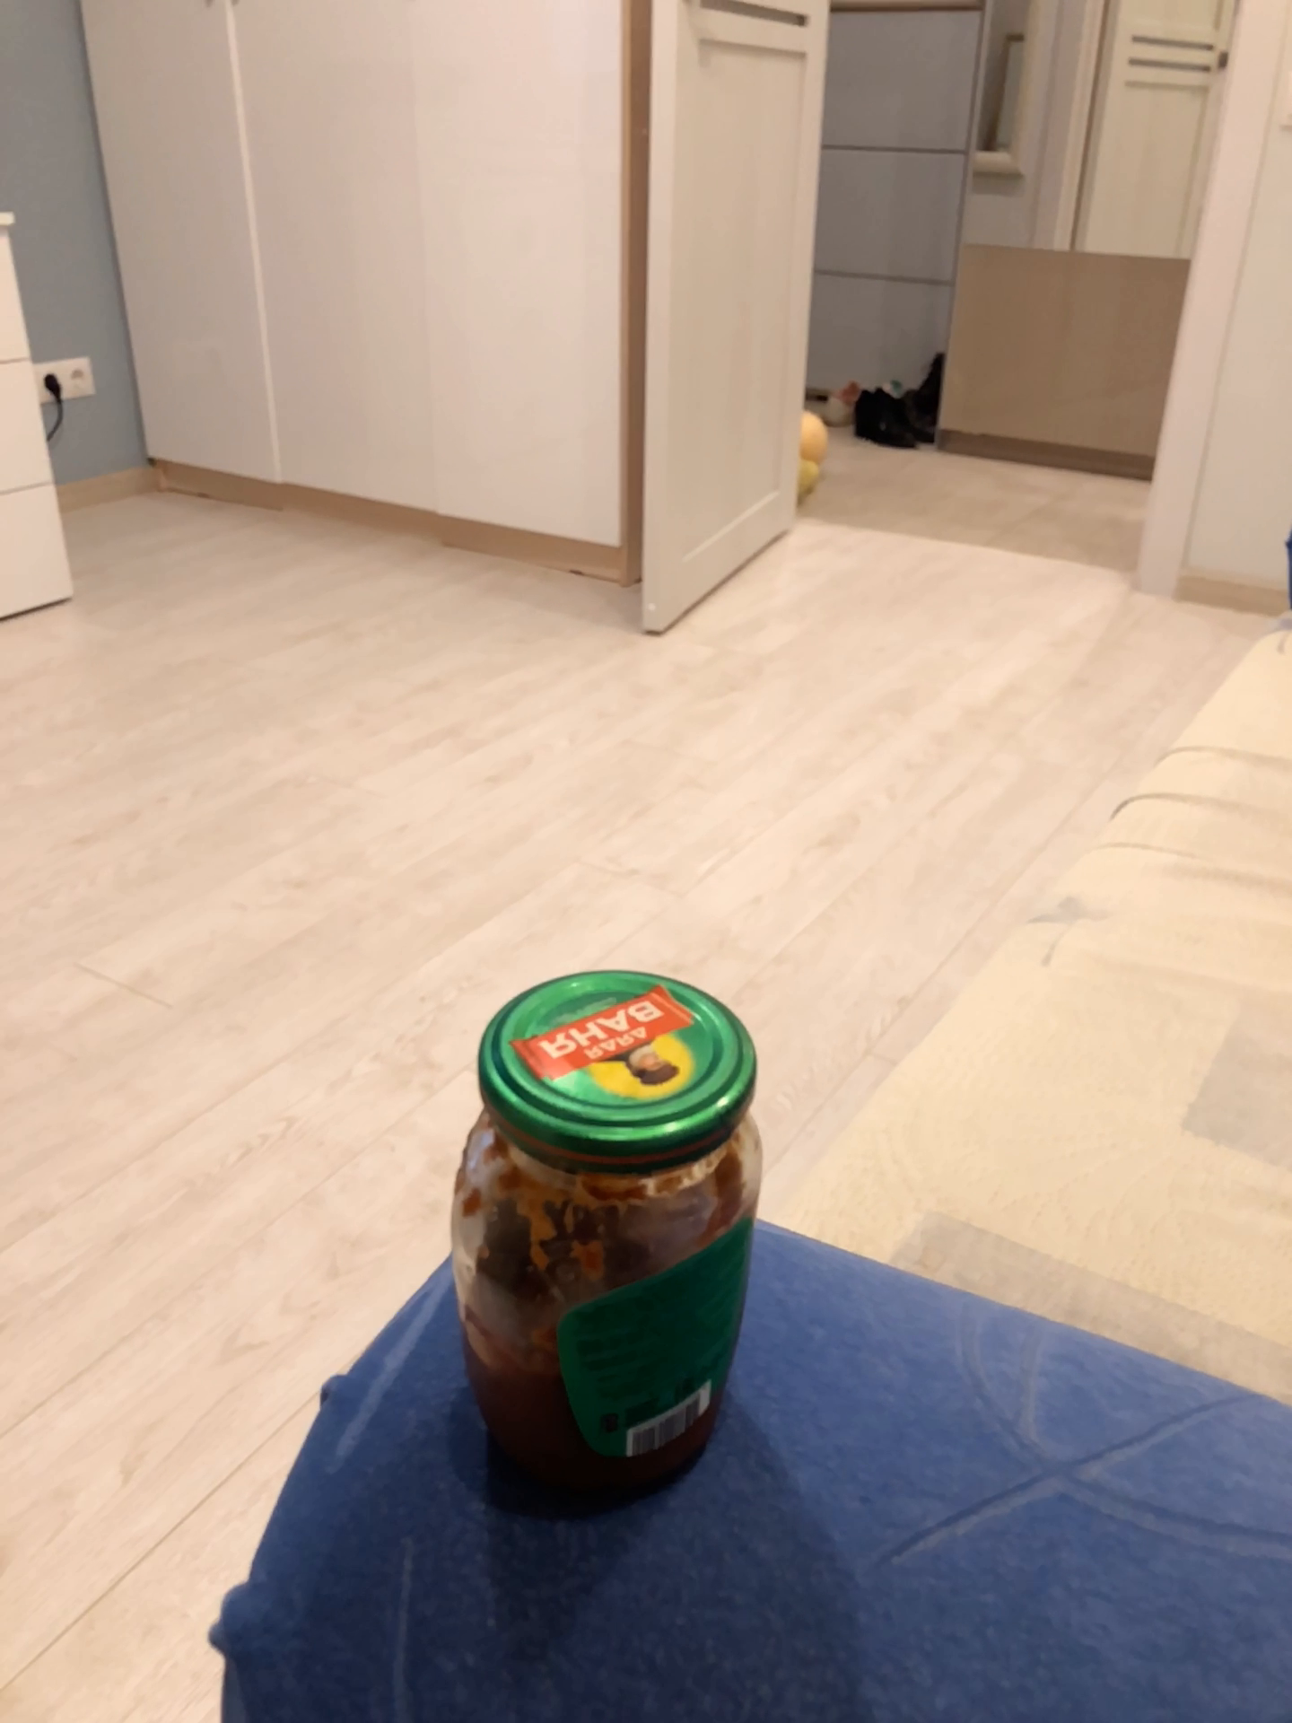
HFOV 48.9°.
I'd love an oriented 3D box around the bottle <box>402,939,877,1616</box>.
[{"bbox_3d":[-0.005,0.076,0.271,0.060,0.092,0.060,3,30,-2],"label":"bottle"}]
